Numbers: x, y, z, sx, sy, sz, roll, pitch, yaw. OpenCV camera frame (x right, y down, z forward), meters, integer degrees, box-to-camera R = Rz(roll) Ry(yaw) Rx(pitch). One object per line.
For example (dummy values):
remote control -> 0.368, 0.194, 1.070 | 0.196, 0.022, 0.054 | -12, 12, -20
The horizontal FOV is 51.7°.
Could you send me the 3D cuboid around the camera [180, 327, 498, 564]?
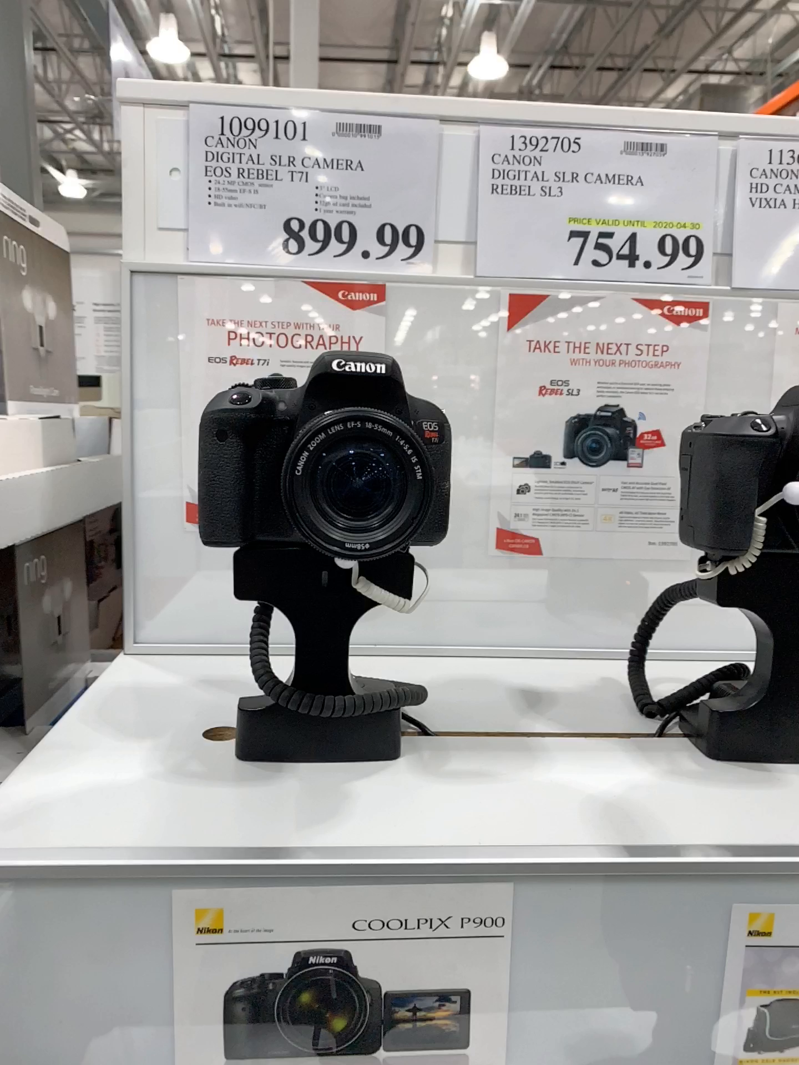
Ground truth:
camera -> -0.033, -0.043, 0.410 | 0.132, 0.096, 0.129 | 0, 7, -8
